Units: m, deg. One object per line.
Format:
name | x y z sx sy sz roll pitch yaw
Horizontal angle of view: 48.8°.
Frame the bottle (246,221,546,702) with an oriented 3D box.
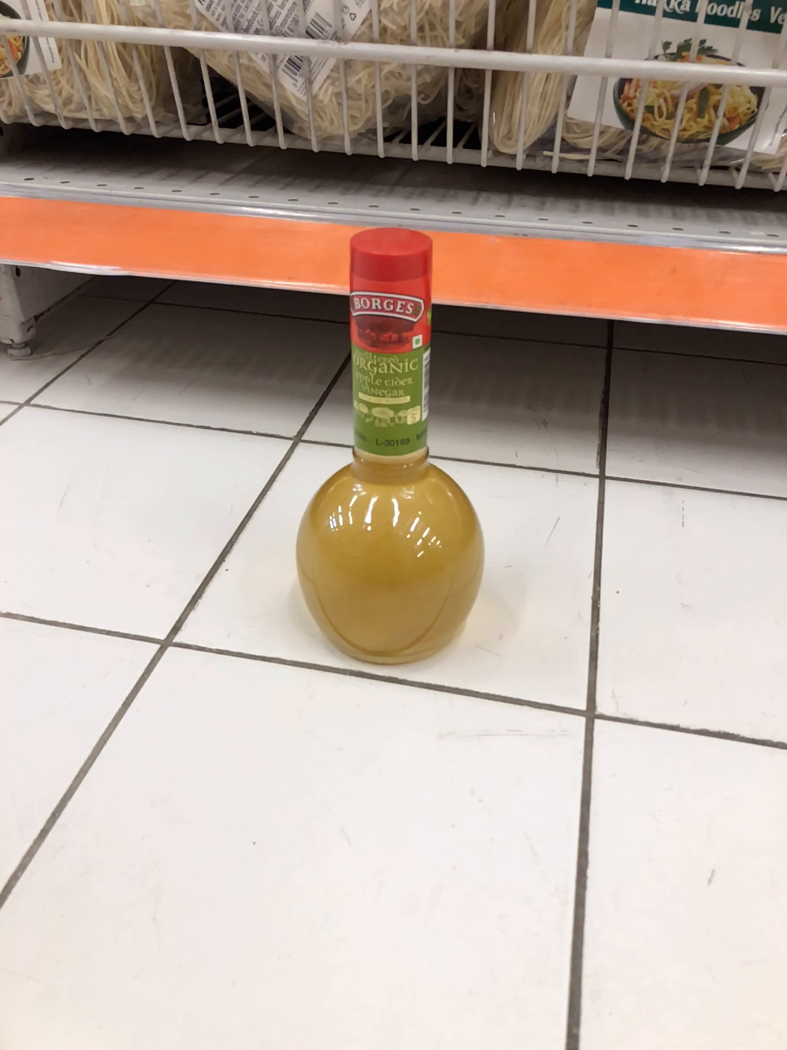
bottle | 0.005 -0.026 0.366 0.090 0.169 0.091 0 34 0
